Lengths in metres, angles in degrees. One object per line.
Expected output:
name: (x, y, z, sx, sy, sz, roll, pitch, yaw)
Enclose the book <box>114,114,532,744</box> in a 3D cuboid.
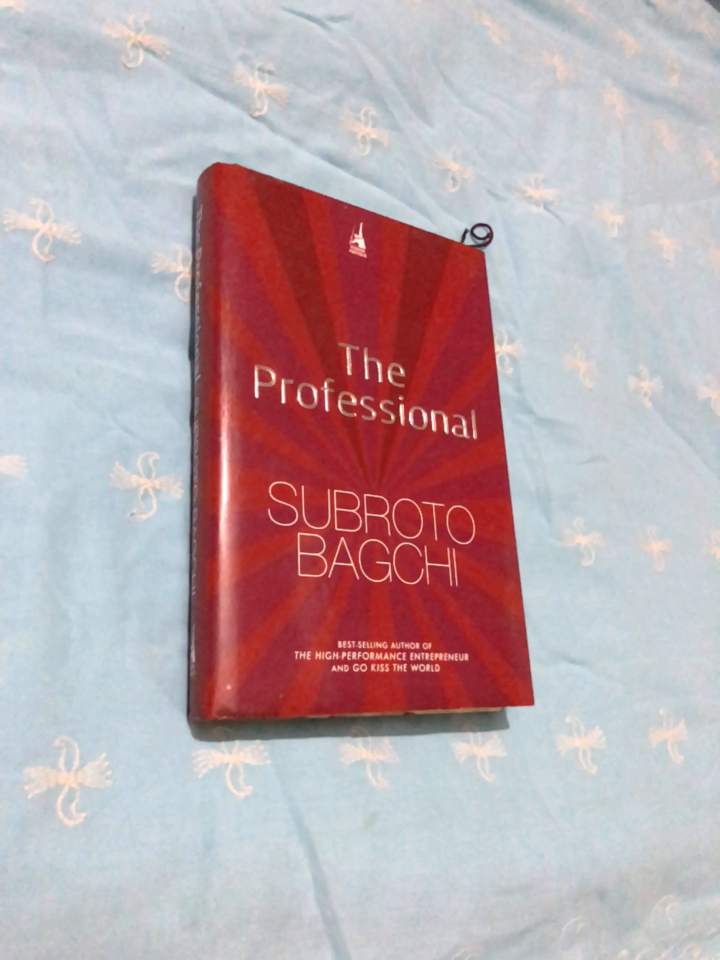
book: (-0.008, -0.015, 0.313, 0.151, 0.030, 0.220, 10, 69, -31)
